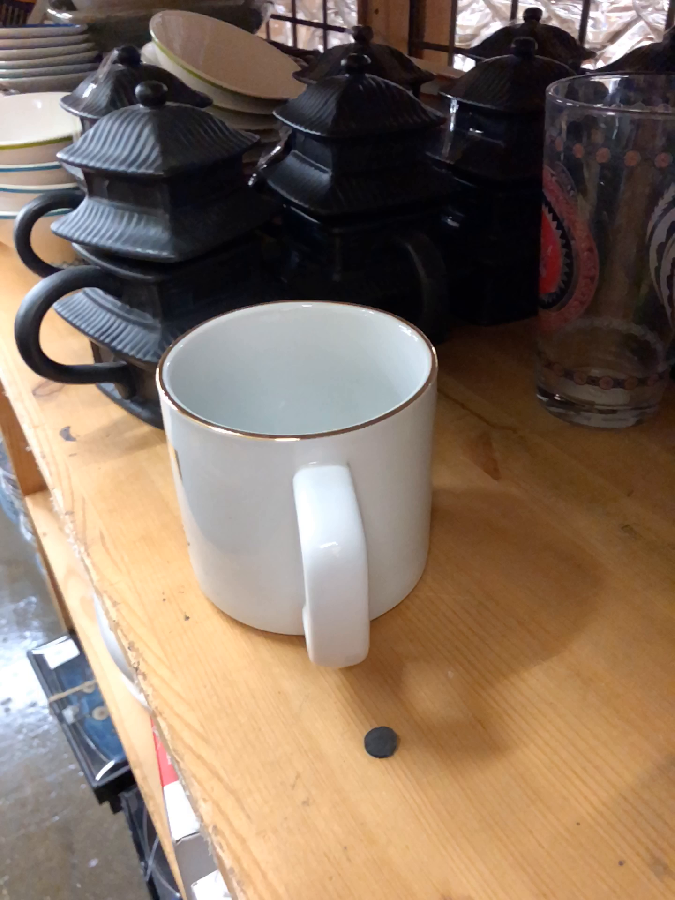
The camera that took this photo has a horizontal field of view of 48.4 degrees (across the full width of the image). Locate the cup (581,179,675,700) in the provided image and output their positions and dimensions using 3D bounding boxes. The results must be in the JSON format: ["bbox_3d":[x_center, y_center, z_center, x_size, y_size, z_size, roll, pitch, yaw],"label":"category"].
[{"bbox_3d":[0.141,-0.009,0.219,0.078,0.104,0.093,-14,37,-16],"label":"cup"}]

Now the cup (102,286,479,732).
[{"bbox_3d":[-0.013,0.012,0.250,0.088,0.084,0.123,-3,35,-1],"label":"cup"}]

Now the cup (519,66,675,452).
[{"bbox_3d":[0.127,-0.083,0.324,0.079,0.134,0.093,4,35,9],"label":"cup"}]
